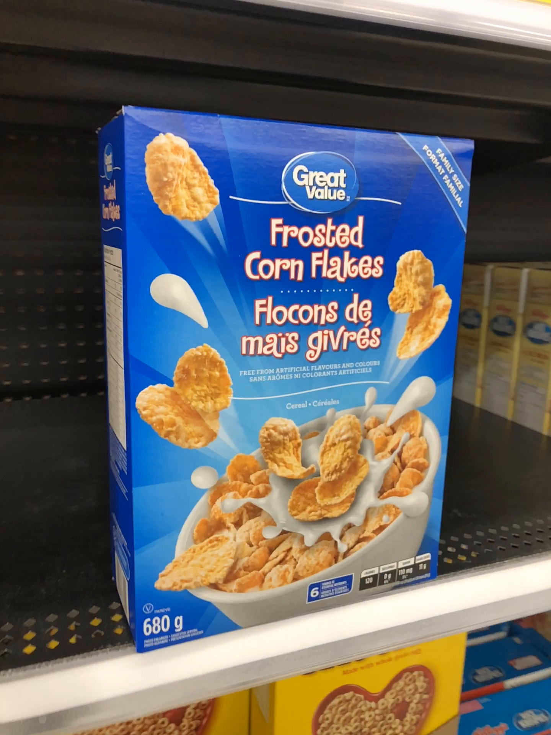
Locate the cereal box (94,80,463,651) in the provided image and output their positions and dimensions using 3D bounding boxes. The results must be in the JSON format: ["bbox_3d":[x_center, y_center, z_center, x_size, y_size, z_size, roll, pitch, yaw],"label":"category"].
[{"bbox_3d":[0.001,-0.003,0.403,0.210,0.309,0.080,-4,13,-25],"label":"cereal box"}]
